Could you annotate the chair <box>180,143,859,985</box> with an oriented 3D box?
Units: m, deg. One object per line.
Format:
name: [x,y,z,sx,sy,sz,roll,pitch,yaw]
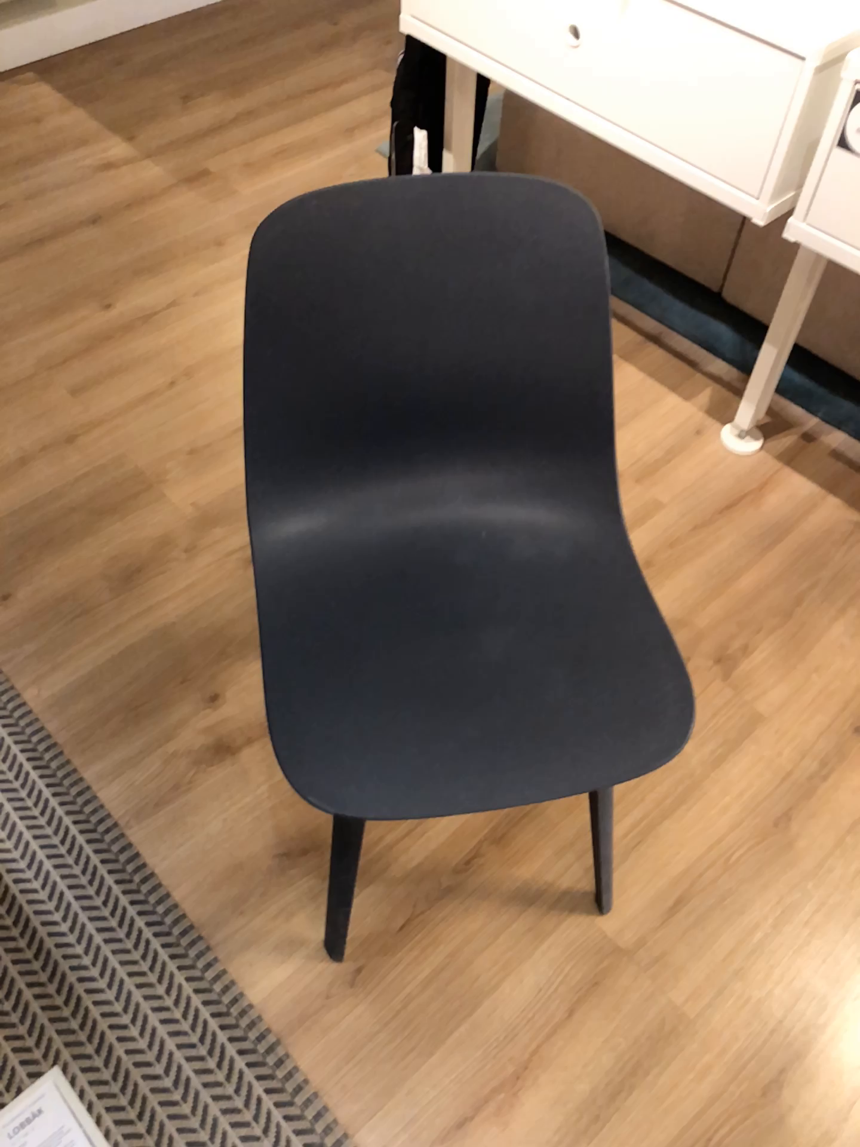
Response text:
chair: [0.030,0.027,1.066,0.470,0.728,0.561,-7,53,-8]
